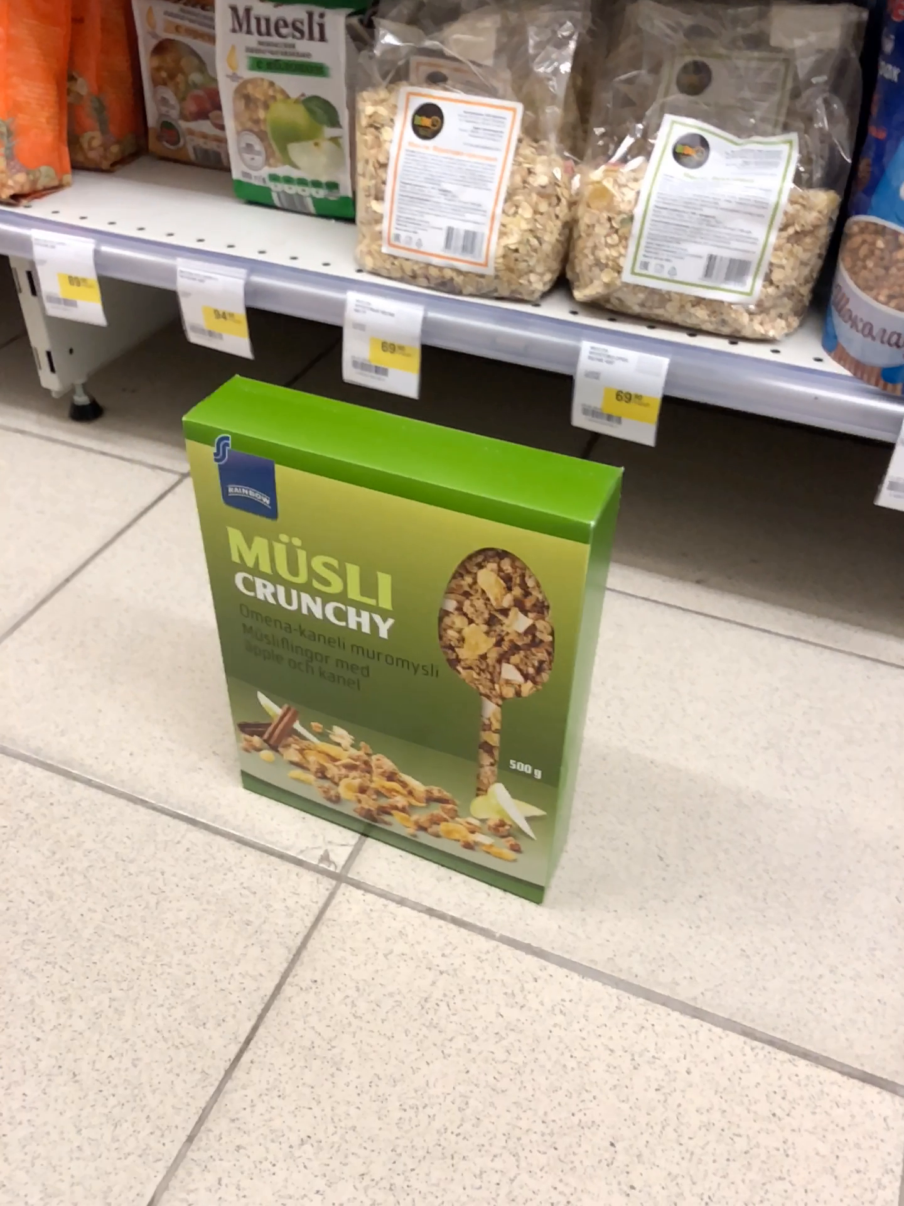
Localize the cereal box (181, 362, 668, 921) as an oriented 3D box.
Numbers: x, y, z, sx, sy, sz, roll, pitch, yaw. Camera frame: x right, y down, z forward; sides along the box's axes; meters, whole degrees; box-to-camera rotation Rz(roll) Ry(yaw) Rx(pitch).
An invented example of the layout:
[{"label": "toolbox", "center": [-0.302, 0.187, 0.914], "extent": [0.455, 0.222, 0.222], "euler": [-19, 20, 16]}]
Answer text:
[{"label": "cereal box", "center": [-0.018, 0.027, 0.492], "extent": [0.200, 0.248, 0.050], "euler": [17, 41, 17]}]
